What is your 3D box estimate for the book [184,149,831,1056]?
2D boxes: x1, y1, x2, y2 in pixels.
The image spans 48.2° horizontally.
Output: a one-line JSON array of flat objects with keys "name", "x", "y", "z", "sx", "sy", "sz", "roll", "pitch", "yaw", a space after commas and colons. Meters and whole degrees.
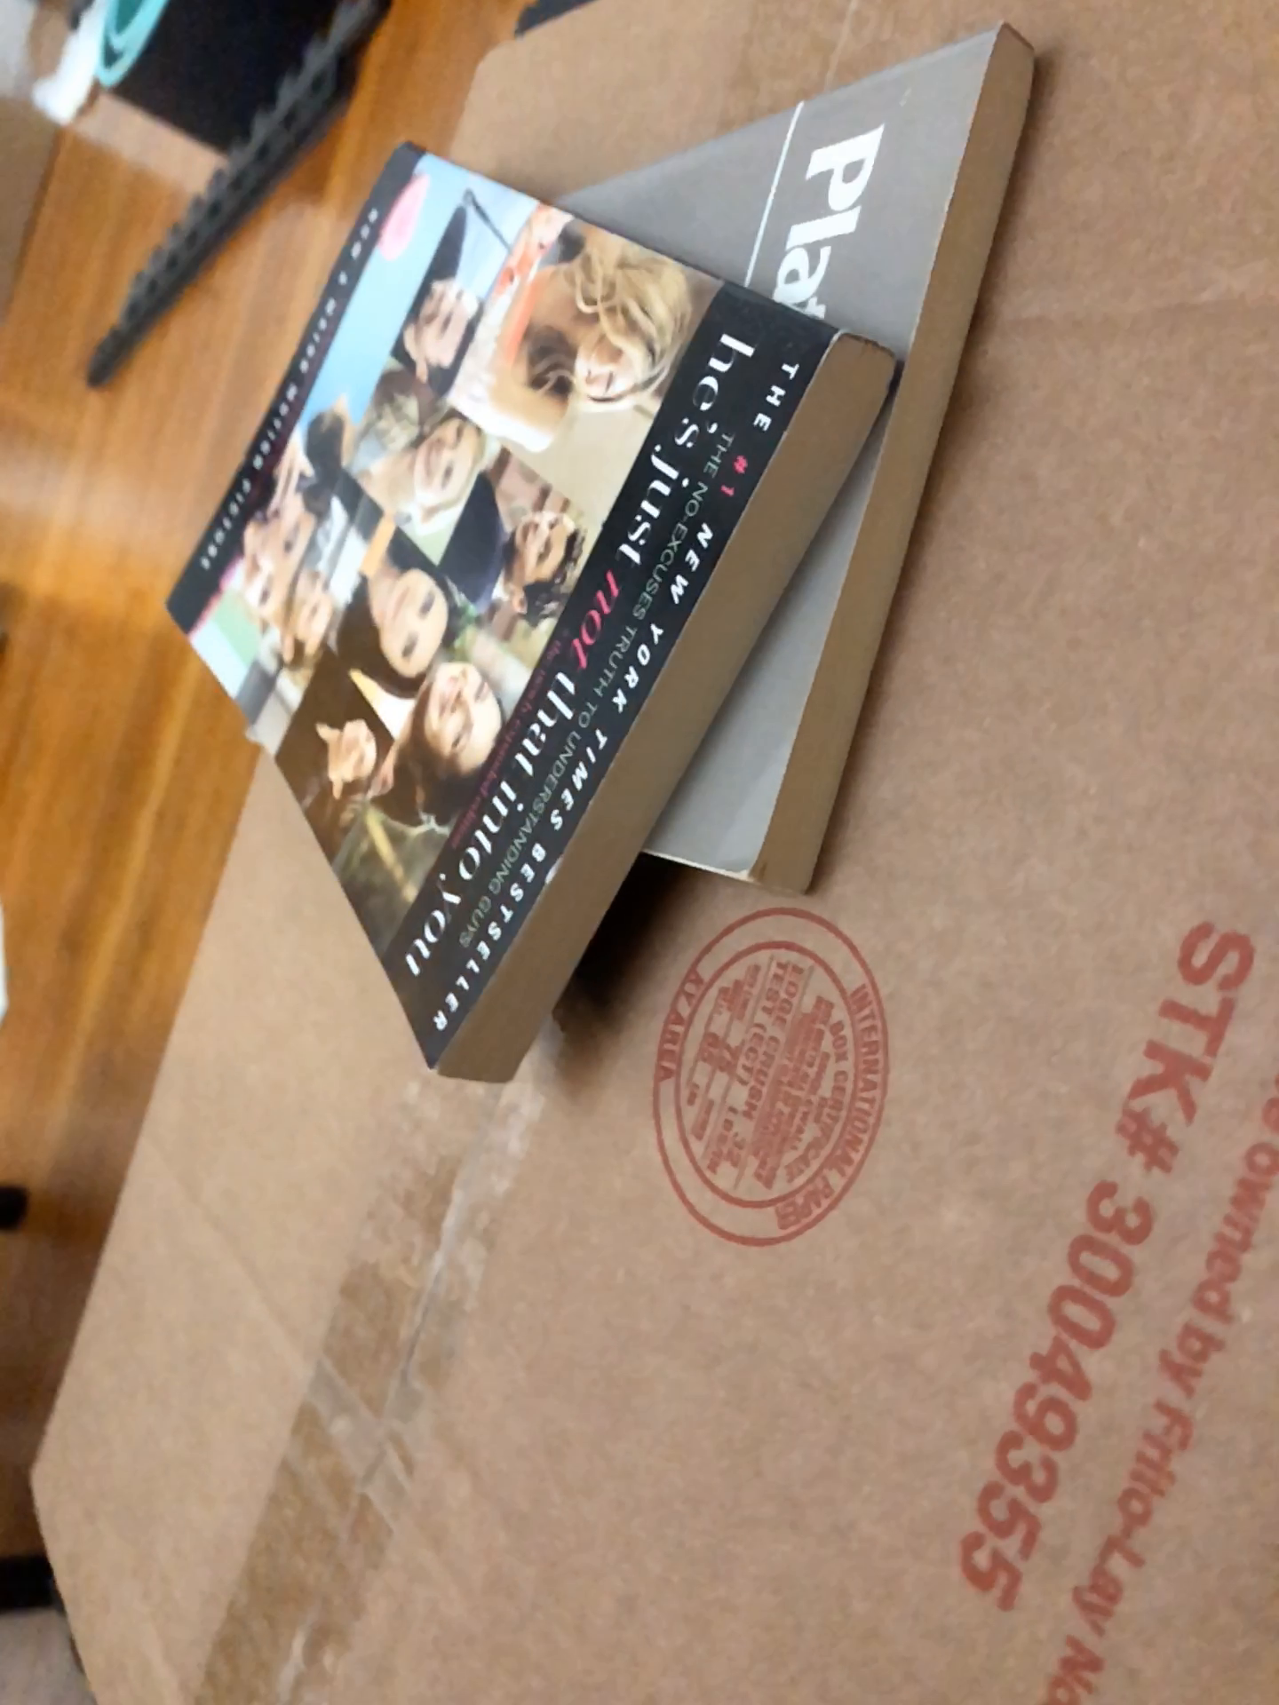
[{"name": "book", "x": -0.056, "y": -0.081, "z": 0.345, "sx": 0.150, "sy": 0.010, "sz": 0.231, "roll": -61, "pitch": 38, "yaw": 16}]
